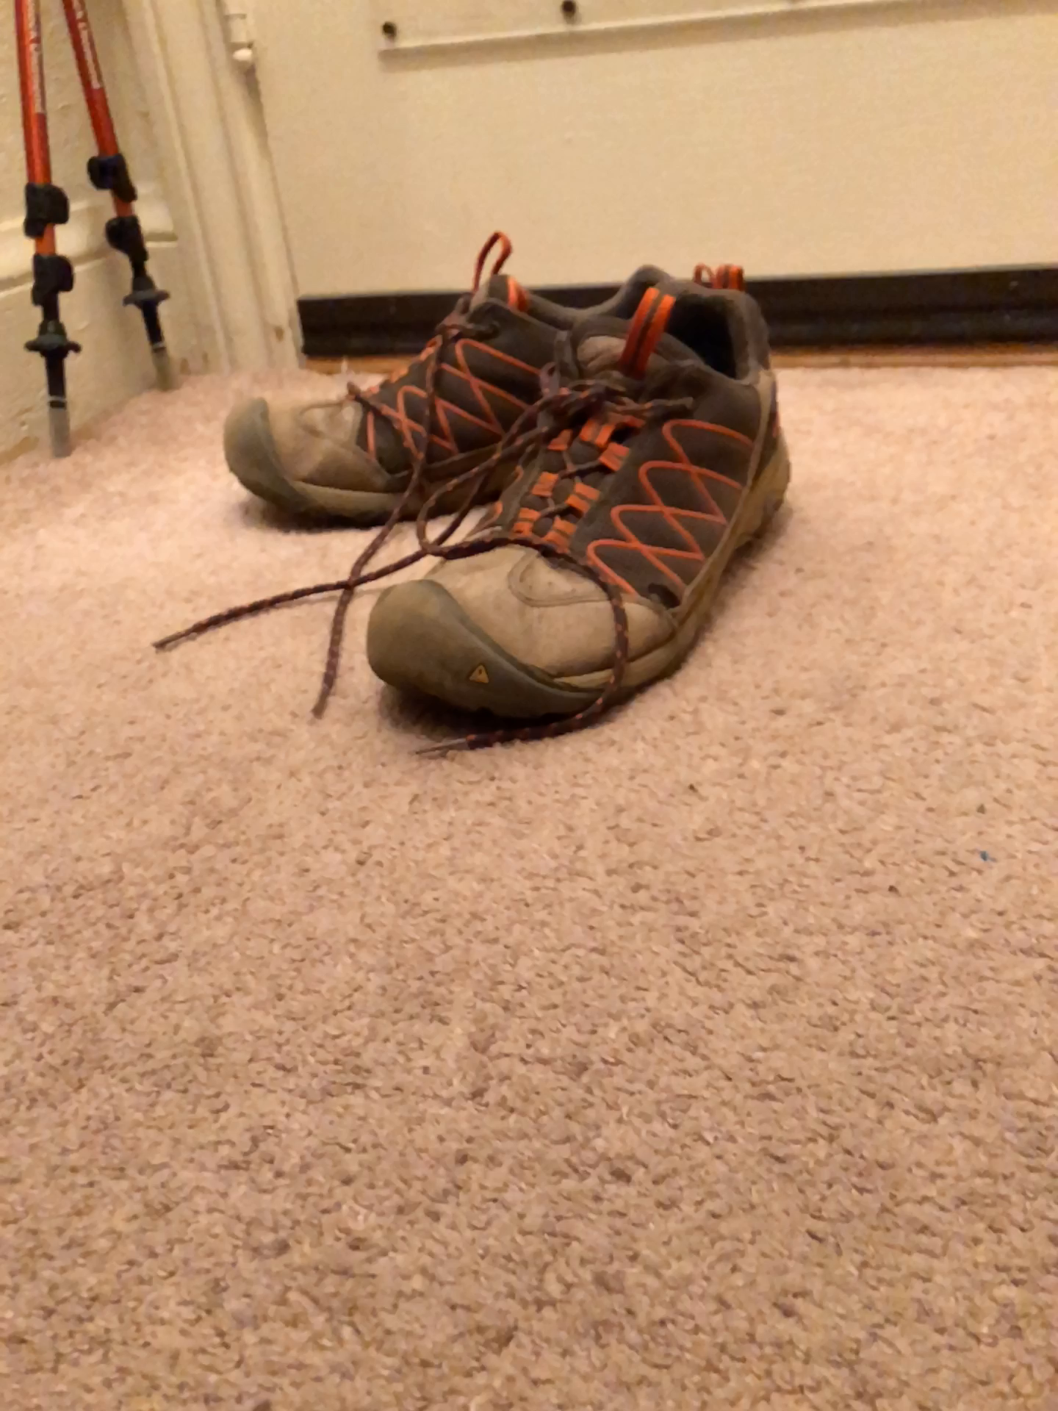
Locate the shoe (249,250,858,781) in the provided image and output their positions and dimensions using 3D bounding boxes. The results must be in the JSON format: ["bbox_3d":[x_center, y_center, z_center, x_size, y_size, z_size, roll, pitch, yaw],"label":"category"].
[{"bbox_3d":[0.031,-0.105,0.521,0.120,0.129,0.271,17,38,33],"label":"shoe"}]

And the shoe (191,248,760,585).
[{"bbox_3d":[-0.028,-0.176,0.697,0.300,0.129,0.121,-8,31,-4],"label":"shoe"}]
